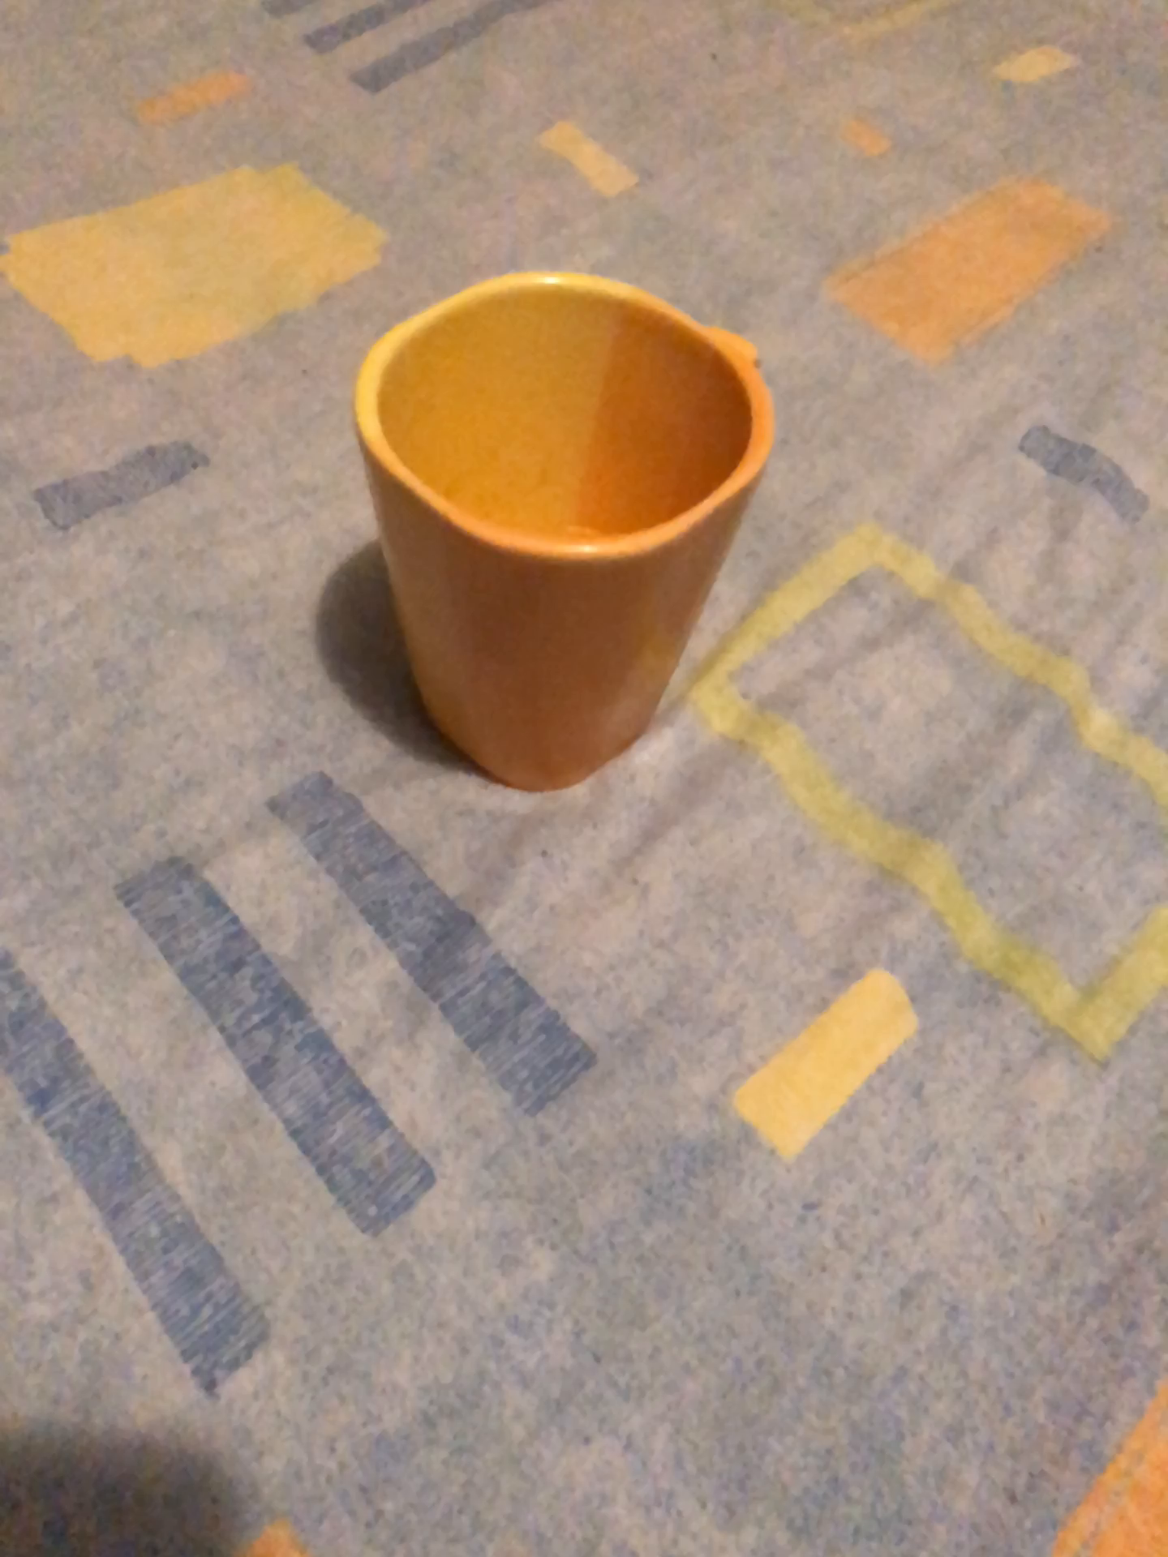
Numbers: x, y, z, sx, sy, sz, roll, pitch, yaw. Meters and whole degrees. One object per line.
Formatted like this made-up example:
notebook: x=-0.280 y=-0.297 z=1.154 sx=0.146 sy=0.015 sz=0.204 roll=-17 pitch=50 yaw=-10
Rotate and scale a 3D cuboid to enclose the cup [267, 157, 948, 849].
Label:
cup: x=0.004 y=-0.064 z=0.294 sx=0.084 sy=0.082 sz=0.111 roll=41 pitch=61 yaw=20
